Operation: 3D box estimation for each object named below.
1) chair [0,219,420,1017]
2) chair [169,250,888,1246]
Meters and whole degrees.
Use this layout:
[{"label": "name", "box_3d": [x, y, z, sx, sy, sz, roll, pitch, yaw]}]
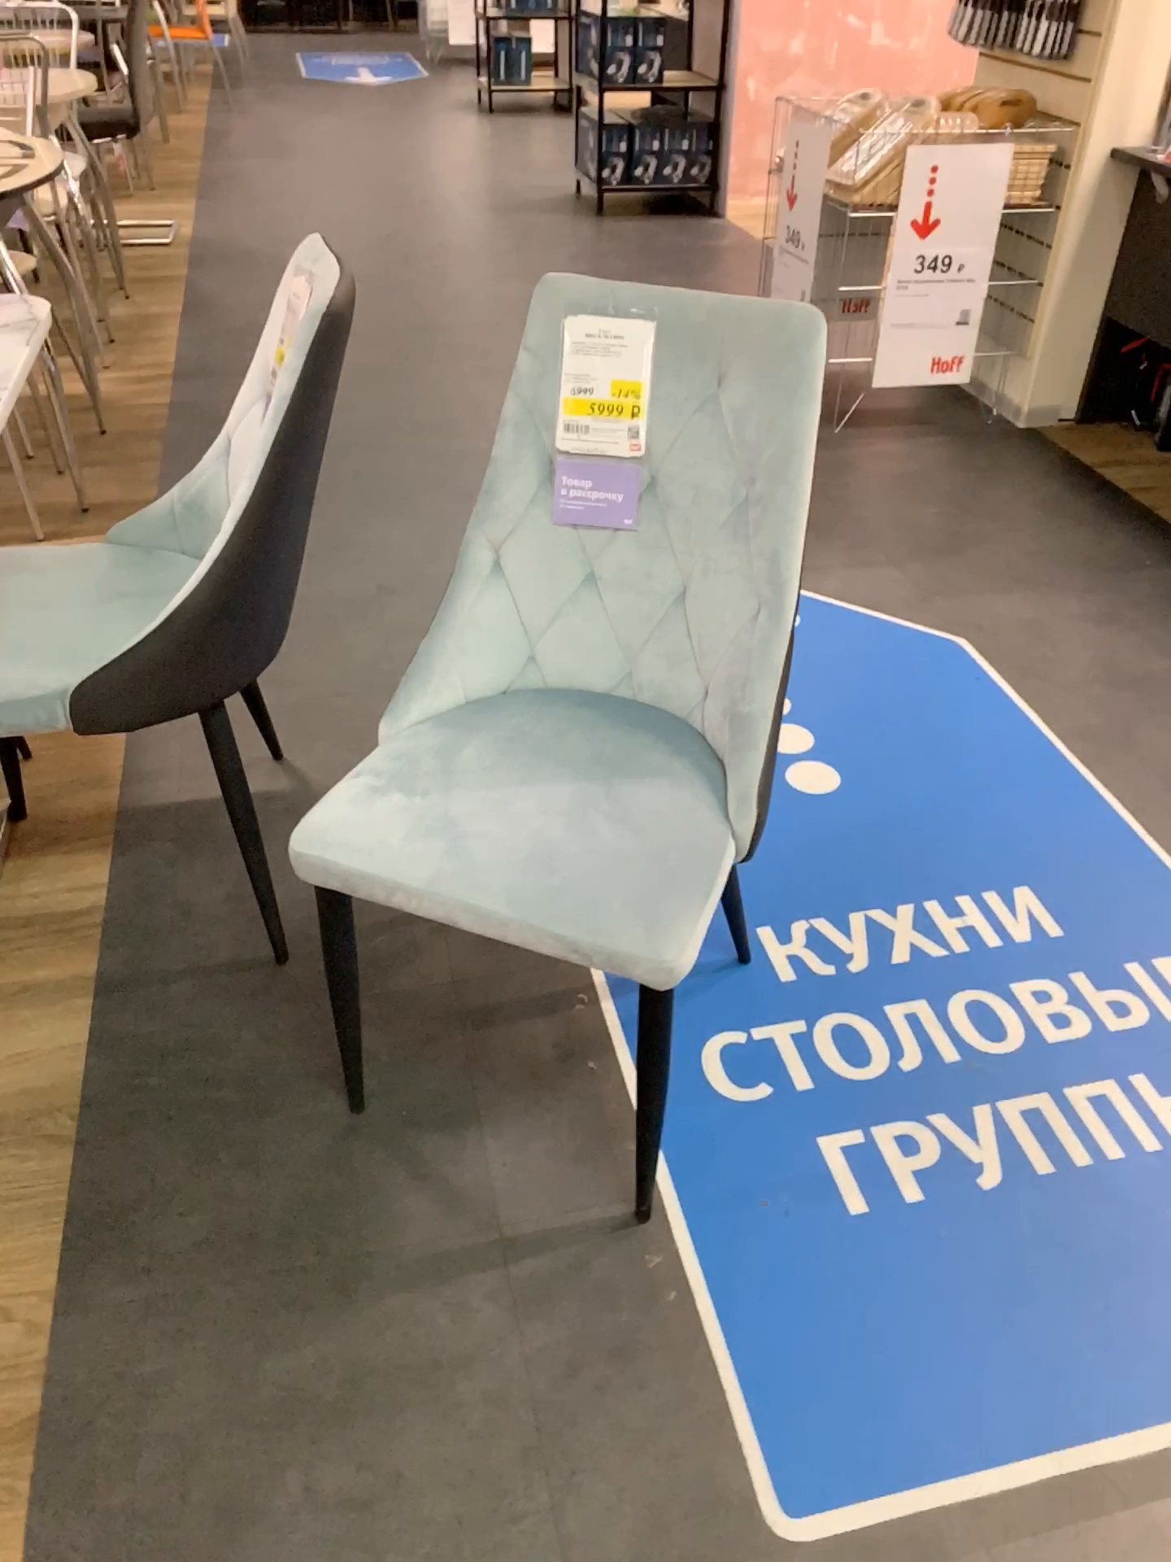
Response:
[{"label": "chair", "box_3d": [-0.621, -0.238, 1.670, 0.665, 0.880, 0.572, -7, 37, -11]}, {"label": "chair", "box_3d": [-0.021, -0.045, 1.357, 0.470, 0.885, 0.553, 15, 38, 17]}]
